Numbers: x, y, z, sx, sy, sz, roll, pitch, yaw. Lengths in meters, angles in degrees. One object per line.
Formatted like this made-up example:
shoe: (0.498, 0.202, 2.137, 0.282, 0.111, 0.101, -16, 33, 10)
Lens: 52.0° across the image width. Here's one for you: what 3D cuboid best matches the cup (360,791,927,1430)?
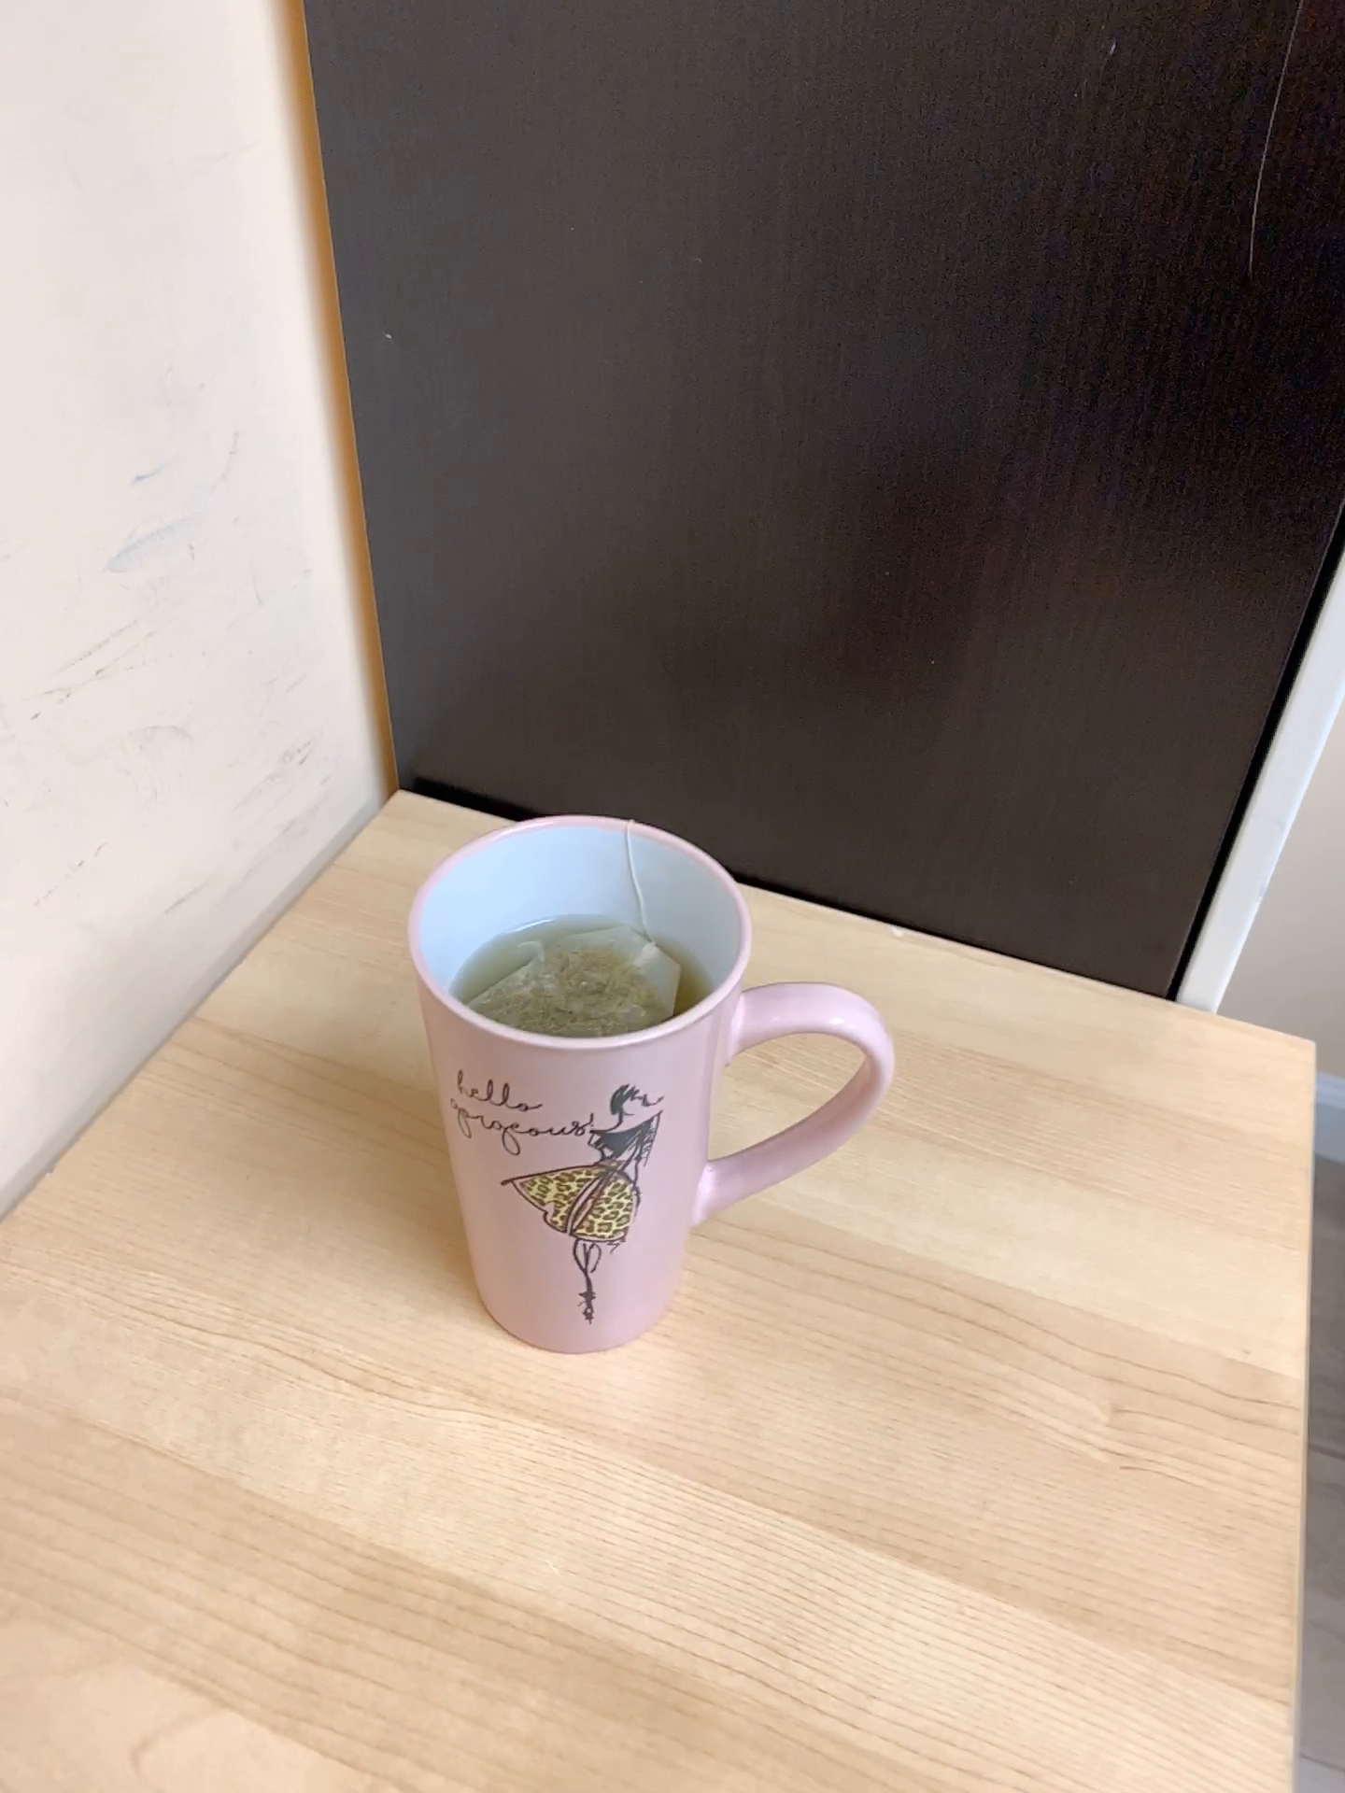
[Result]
cup: (-0.004, 0.065, 0.407, 0.133, 0.151, 0.093, 7, 41, 6)
